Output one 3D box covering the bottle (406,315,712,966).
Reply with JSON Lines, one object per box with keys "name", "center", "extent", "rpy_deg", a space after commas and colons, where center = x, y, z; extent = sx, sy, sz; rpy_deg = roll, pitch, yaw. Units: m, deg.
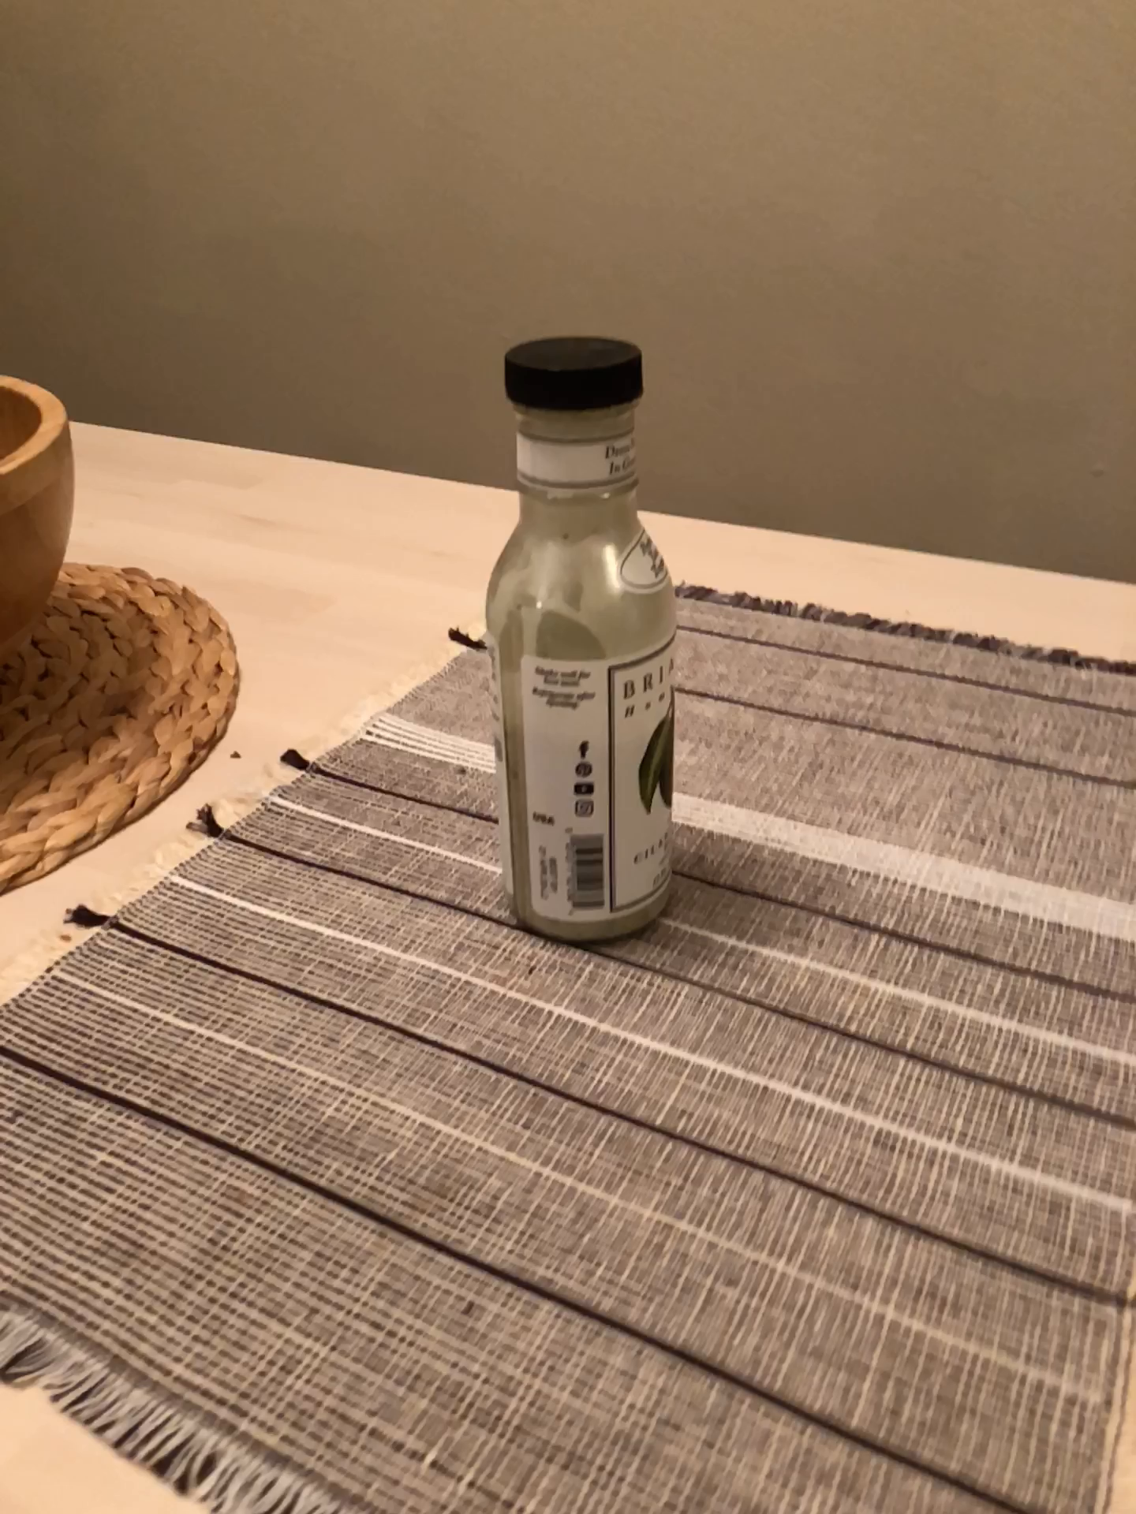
{"name": "bottle", "center": [0.003, -0.035, 0.397], "extent": [0.069, 0.186, 0.075], "rpy_deg": [-1, 30, 1]}
